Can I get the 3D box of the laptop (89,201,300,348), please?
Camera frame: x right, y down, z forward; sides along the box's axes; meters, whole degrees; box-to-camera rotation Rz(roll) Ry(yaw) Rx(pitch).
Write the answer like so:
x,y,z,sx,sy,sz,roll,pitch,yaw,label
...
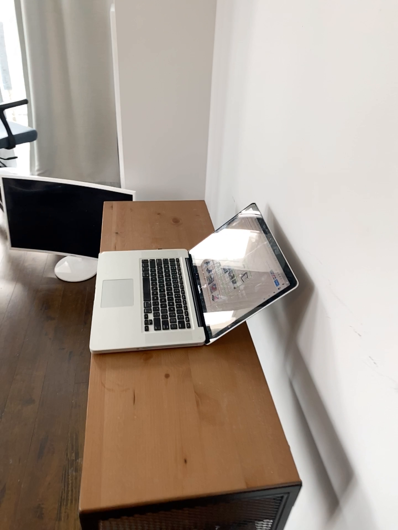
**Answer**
x,y,z,sx,sy,sz,roll,pitch,yaw,label
-0.032,0.001,1.019,0.438,0.151,0.370,-3,37,-8,laptop
